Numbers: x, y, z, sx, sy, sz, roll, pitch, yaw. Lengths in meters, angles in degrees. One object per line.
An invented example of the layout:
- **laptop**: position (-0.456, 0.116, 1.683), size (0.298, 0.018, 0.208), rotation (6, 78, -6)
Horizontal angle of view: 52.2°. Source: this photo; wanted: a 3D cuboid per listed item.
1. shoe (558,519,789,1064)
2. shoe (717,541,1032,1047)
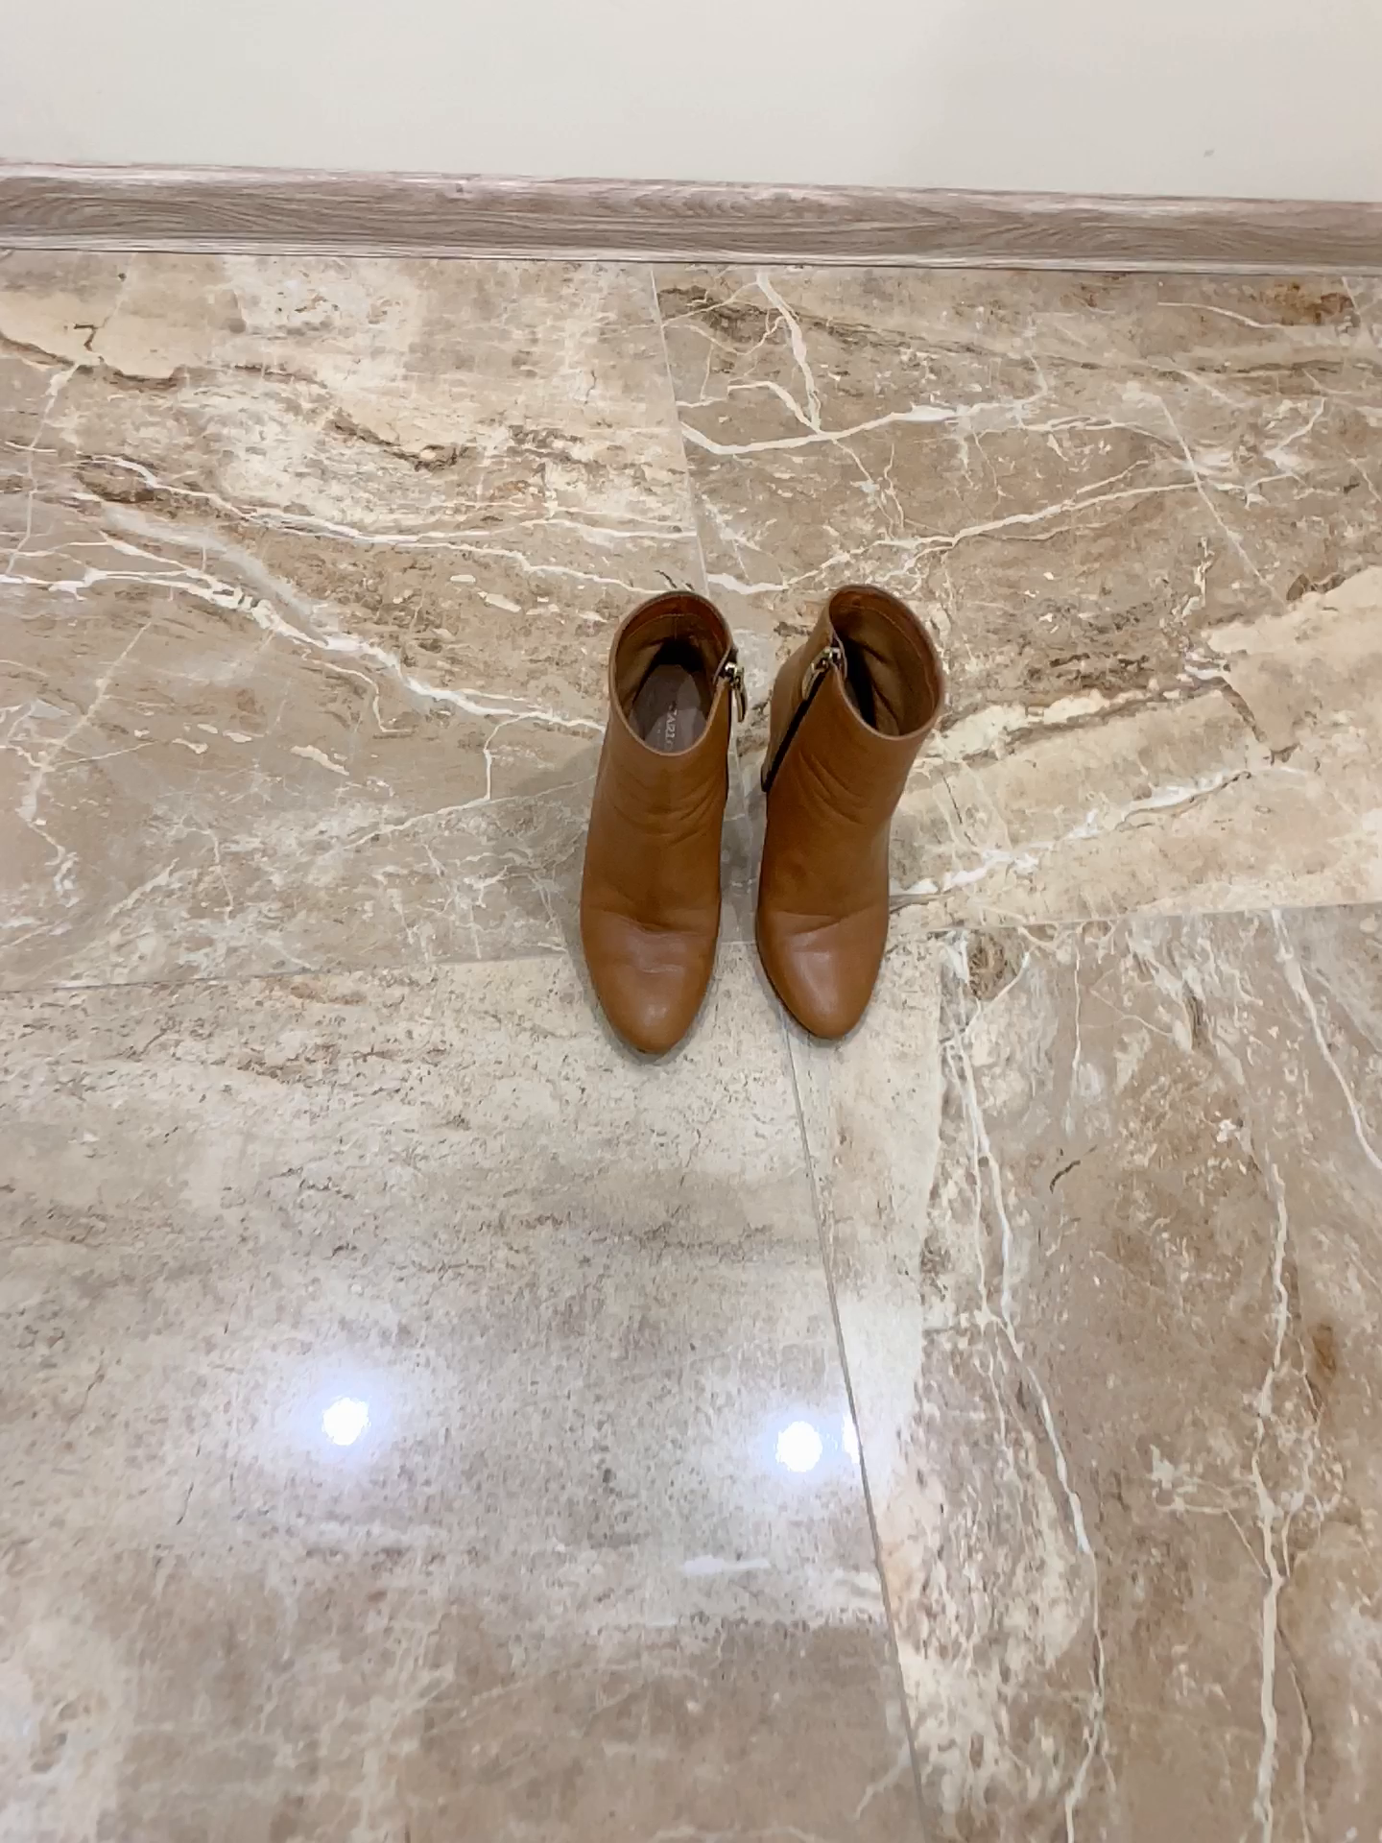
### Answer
- **shoe**: position (-0.012, -0.063, 0.761), size (0.090, 0.185, 0.221), rotation (6, 63, -6)
- **shoe**: position (0.087, -0.065, 0.768), size (0.090, 0.175, 0.211), rotation (-4, 64, -11)
